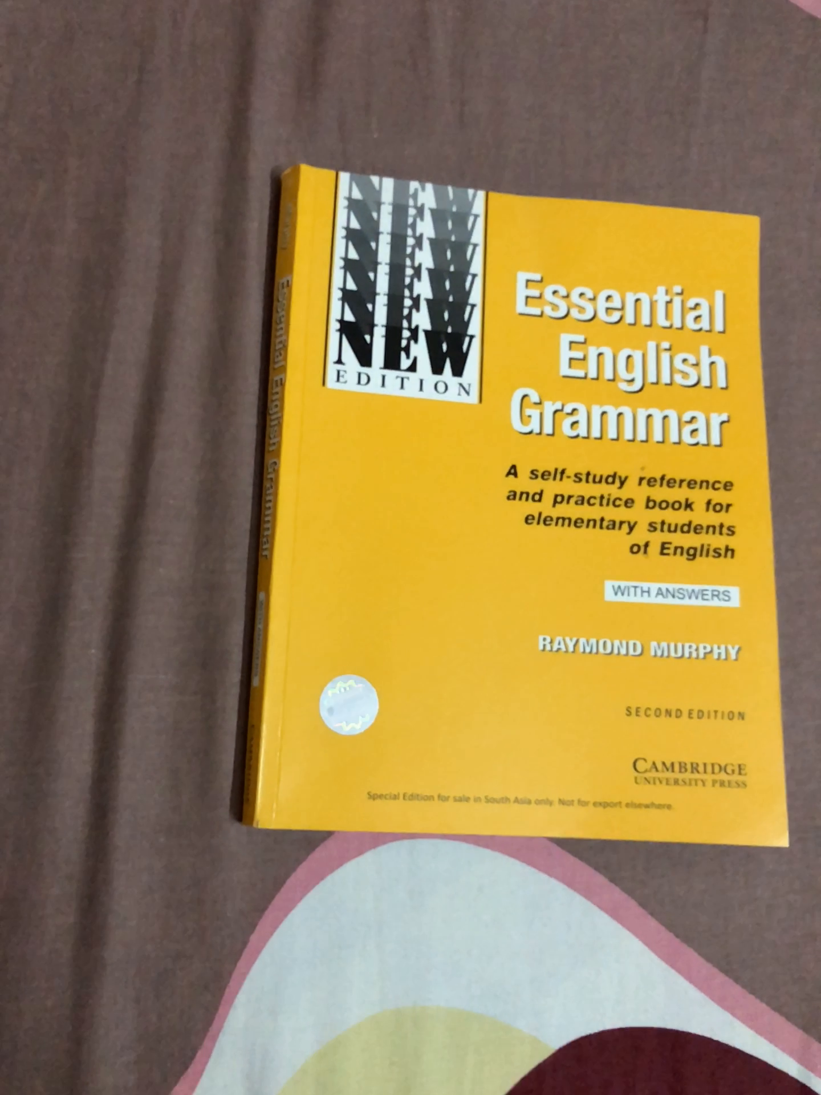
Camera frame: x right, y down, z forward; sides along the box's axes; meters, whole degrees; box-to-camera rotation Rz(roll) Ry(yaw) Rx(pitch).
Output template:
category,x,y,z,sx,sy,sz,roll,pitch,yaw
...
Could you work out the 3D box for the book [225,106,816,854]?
category,x,y,z,sx,sy,sz,roll,pitch,yaw
book,0.041,-0.025,0.332,0.190,0.040,0.250,4,77,-8
